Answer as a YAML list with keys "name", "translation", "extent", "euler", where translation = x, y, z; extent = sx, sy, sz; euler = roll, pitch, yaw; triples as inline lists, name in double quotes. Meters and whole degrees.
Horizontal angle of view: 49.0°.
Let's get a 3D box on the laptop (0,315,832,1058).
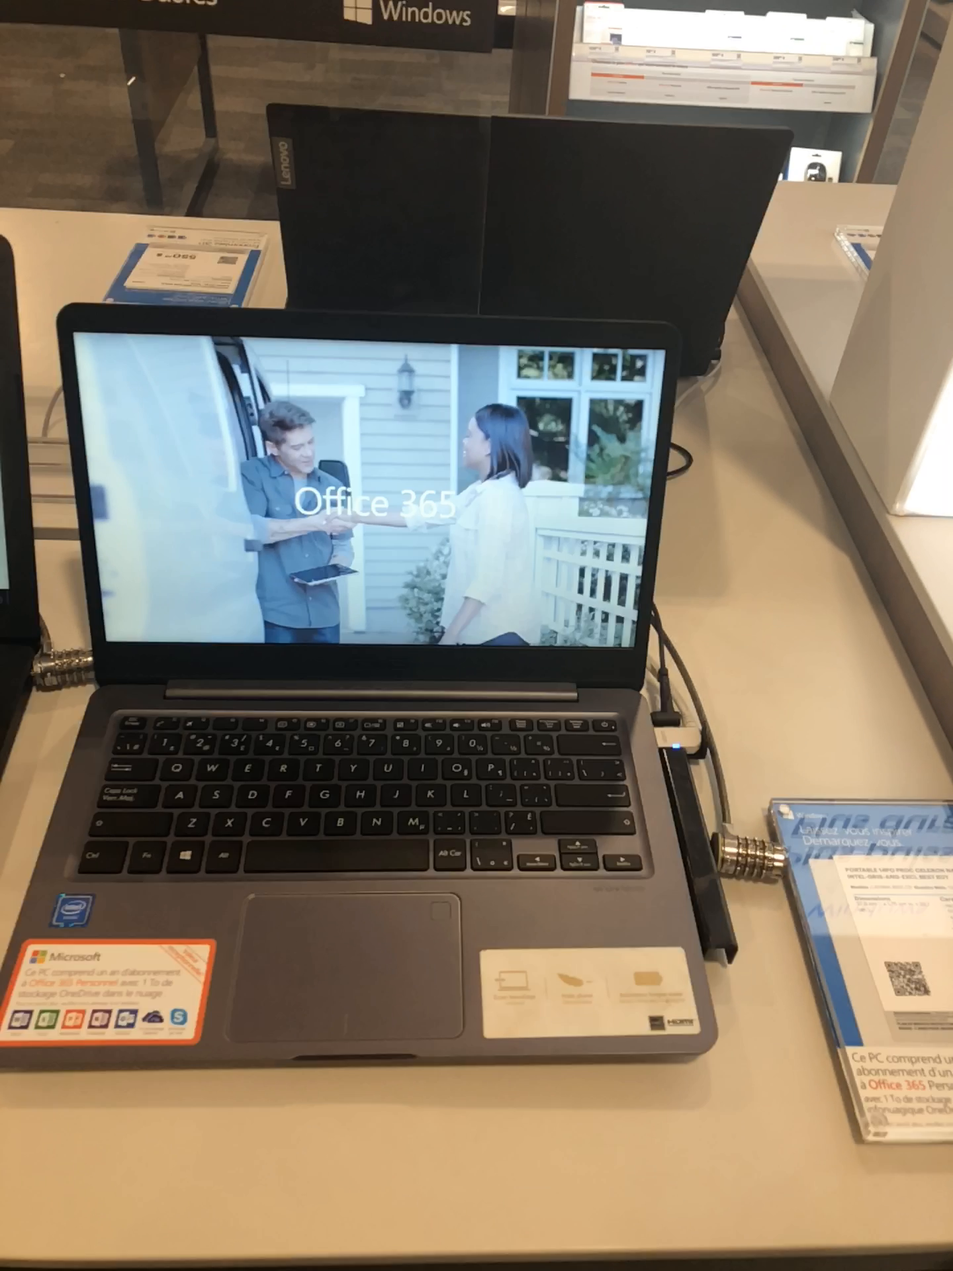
- name: "laptop"
  translation: [-0.051, 0.009, 0.500]
  extent: [0.316, 0.196, 0.292]
  euler: [1, 43, -4]
